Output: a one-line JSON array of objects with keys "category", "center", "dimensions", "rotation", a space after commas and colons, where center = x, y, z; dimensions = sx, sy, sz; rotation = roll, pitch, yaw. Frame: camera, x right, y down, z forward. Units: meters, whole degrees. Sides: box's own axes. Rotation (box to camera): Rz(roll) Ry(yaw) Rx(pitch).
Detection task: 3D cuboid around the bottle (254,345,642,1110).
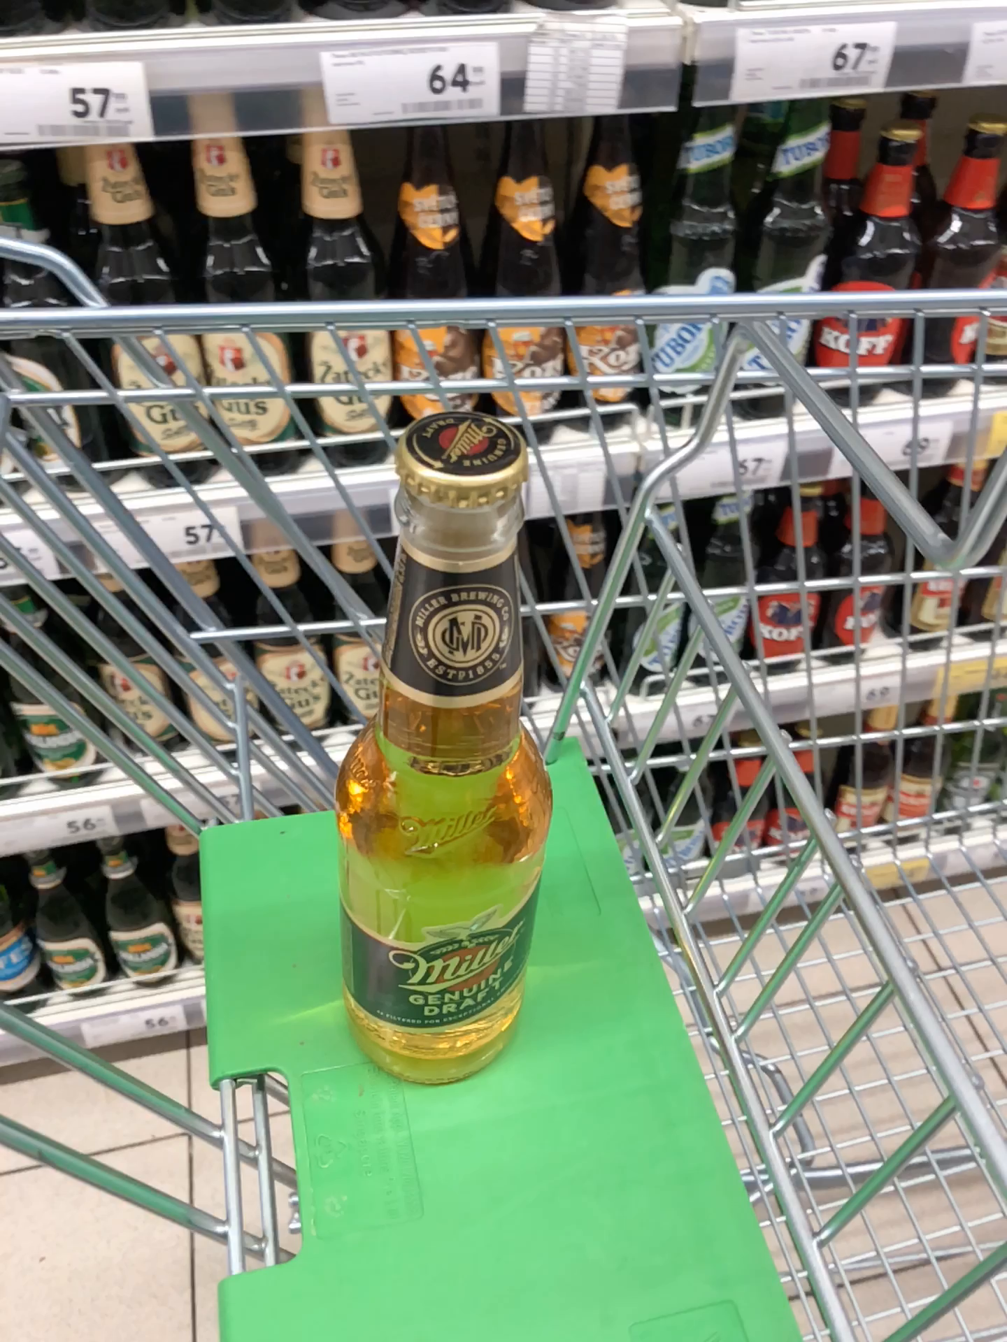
[{"category": "bottle", "center": [-0.015, 0.029, 0.296], "dimensions": [0.070, 0.209, 0.070], "rotation": [0, 43, 0]}]
